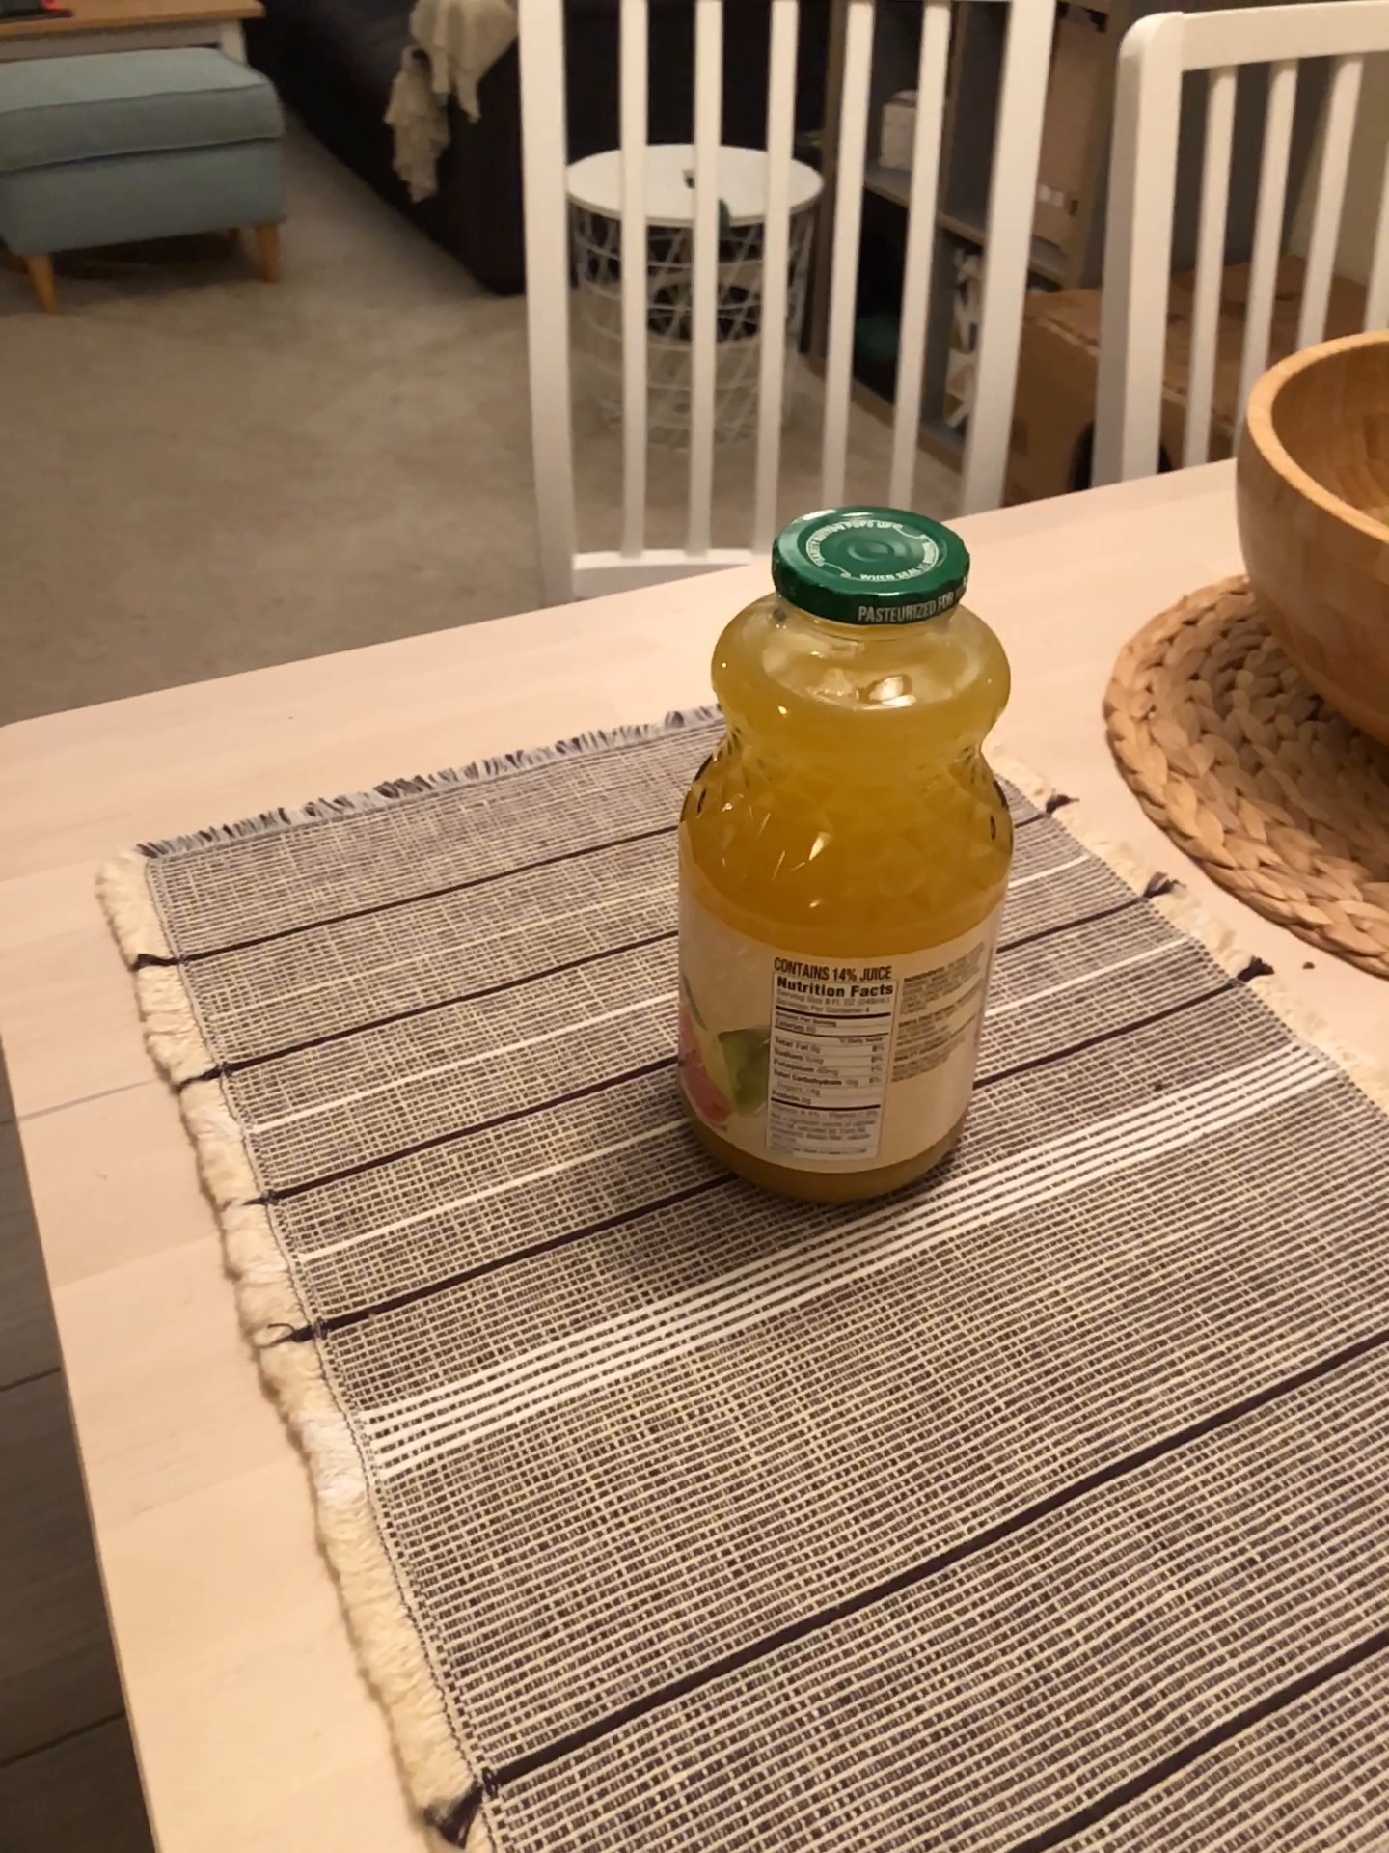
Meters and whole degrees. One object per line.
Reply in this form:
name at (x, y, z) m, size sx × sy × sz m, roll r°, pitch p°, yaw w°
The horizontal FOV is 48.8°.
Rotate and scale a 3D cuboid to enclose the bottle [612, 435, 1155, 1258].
bottle at (0.047, -0.021, 0.438) m, size 0.100 × 0.189 × 0.101 m, roll 1°, pitch 40°, yaw -1°
